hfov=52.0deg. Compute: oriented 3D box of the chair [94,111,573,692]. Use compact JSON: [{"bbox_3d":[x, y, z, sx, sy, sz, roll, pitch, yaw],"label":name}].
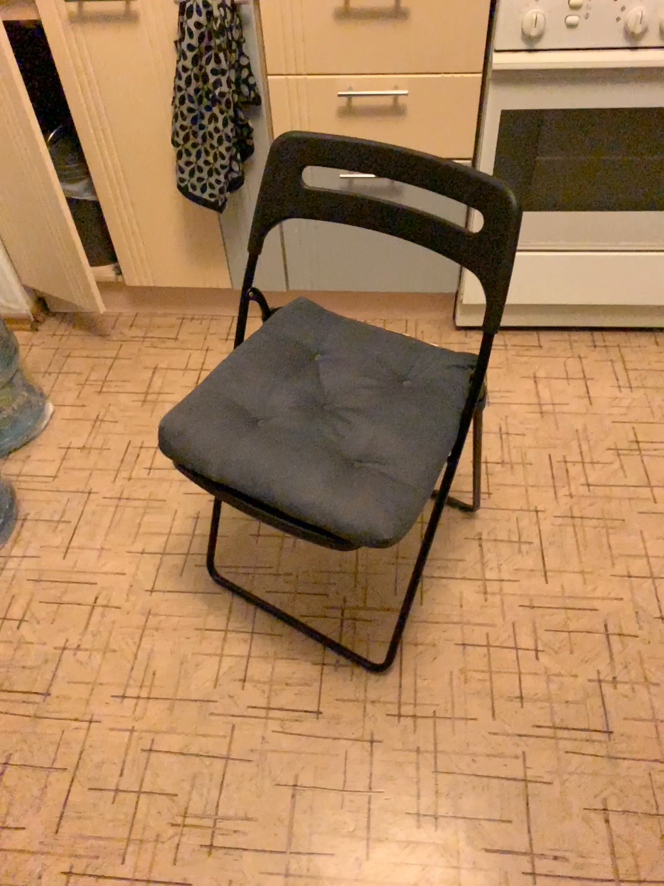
[{"bbox_3d":[0.036,-0.041,1.172,0.441,0.776,0.482,22,53,21],"label":"chair"}]
